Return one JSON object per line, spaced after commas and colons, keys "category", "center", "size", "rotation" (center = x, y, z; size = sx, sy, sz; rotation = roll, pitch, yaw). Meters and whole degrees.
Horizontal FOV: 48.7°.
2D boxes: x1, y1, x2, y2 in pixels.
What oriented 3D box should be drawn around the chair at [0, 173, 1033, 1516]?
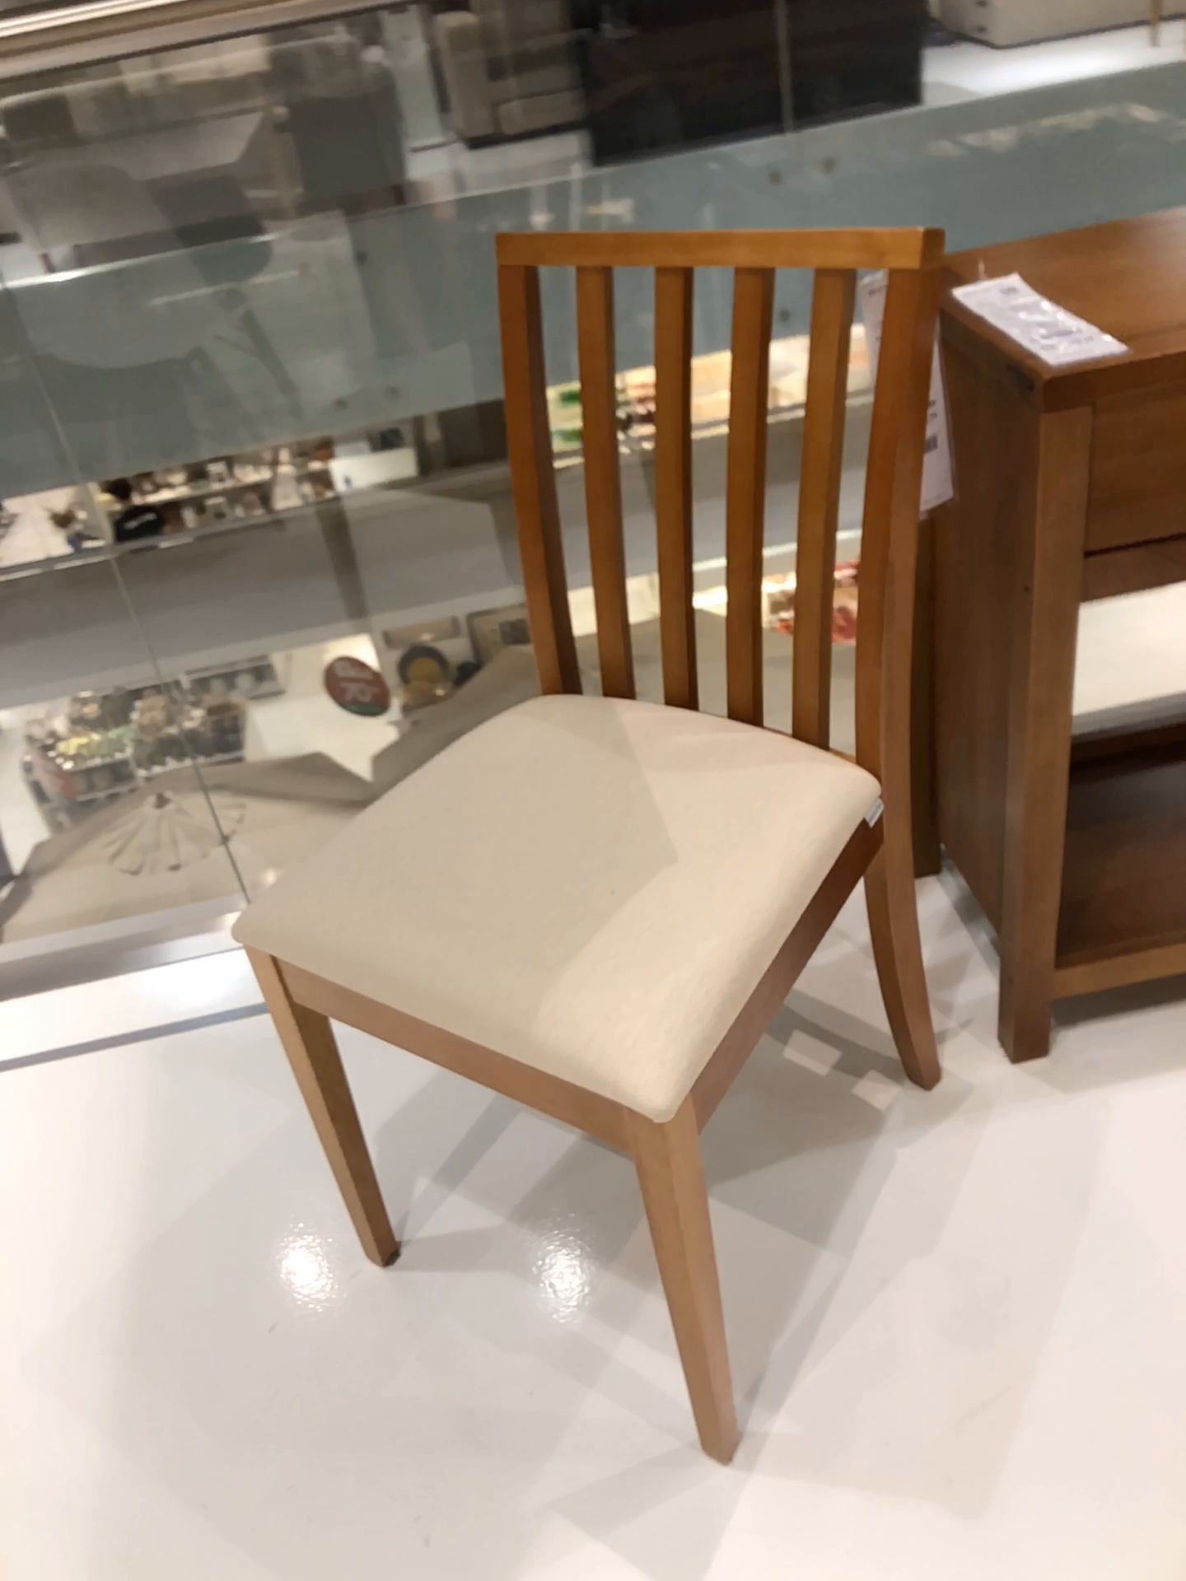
{"category": "chair", "center": [-0.007, 0.010, 1.096], "size": [0.541, 0.833, 0.553], "rotation": [14, 41, 32]}
